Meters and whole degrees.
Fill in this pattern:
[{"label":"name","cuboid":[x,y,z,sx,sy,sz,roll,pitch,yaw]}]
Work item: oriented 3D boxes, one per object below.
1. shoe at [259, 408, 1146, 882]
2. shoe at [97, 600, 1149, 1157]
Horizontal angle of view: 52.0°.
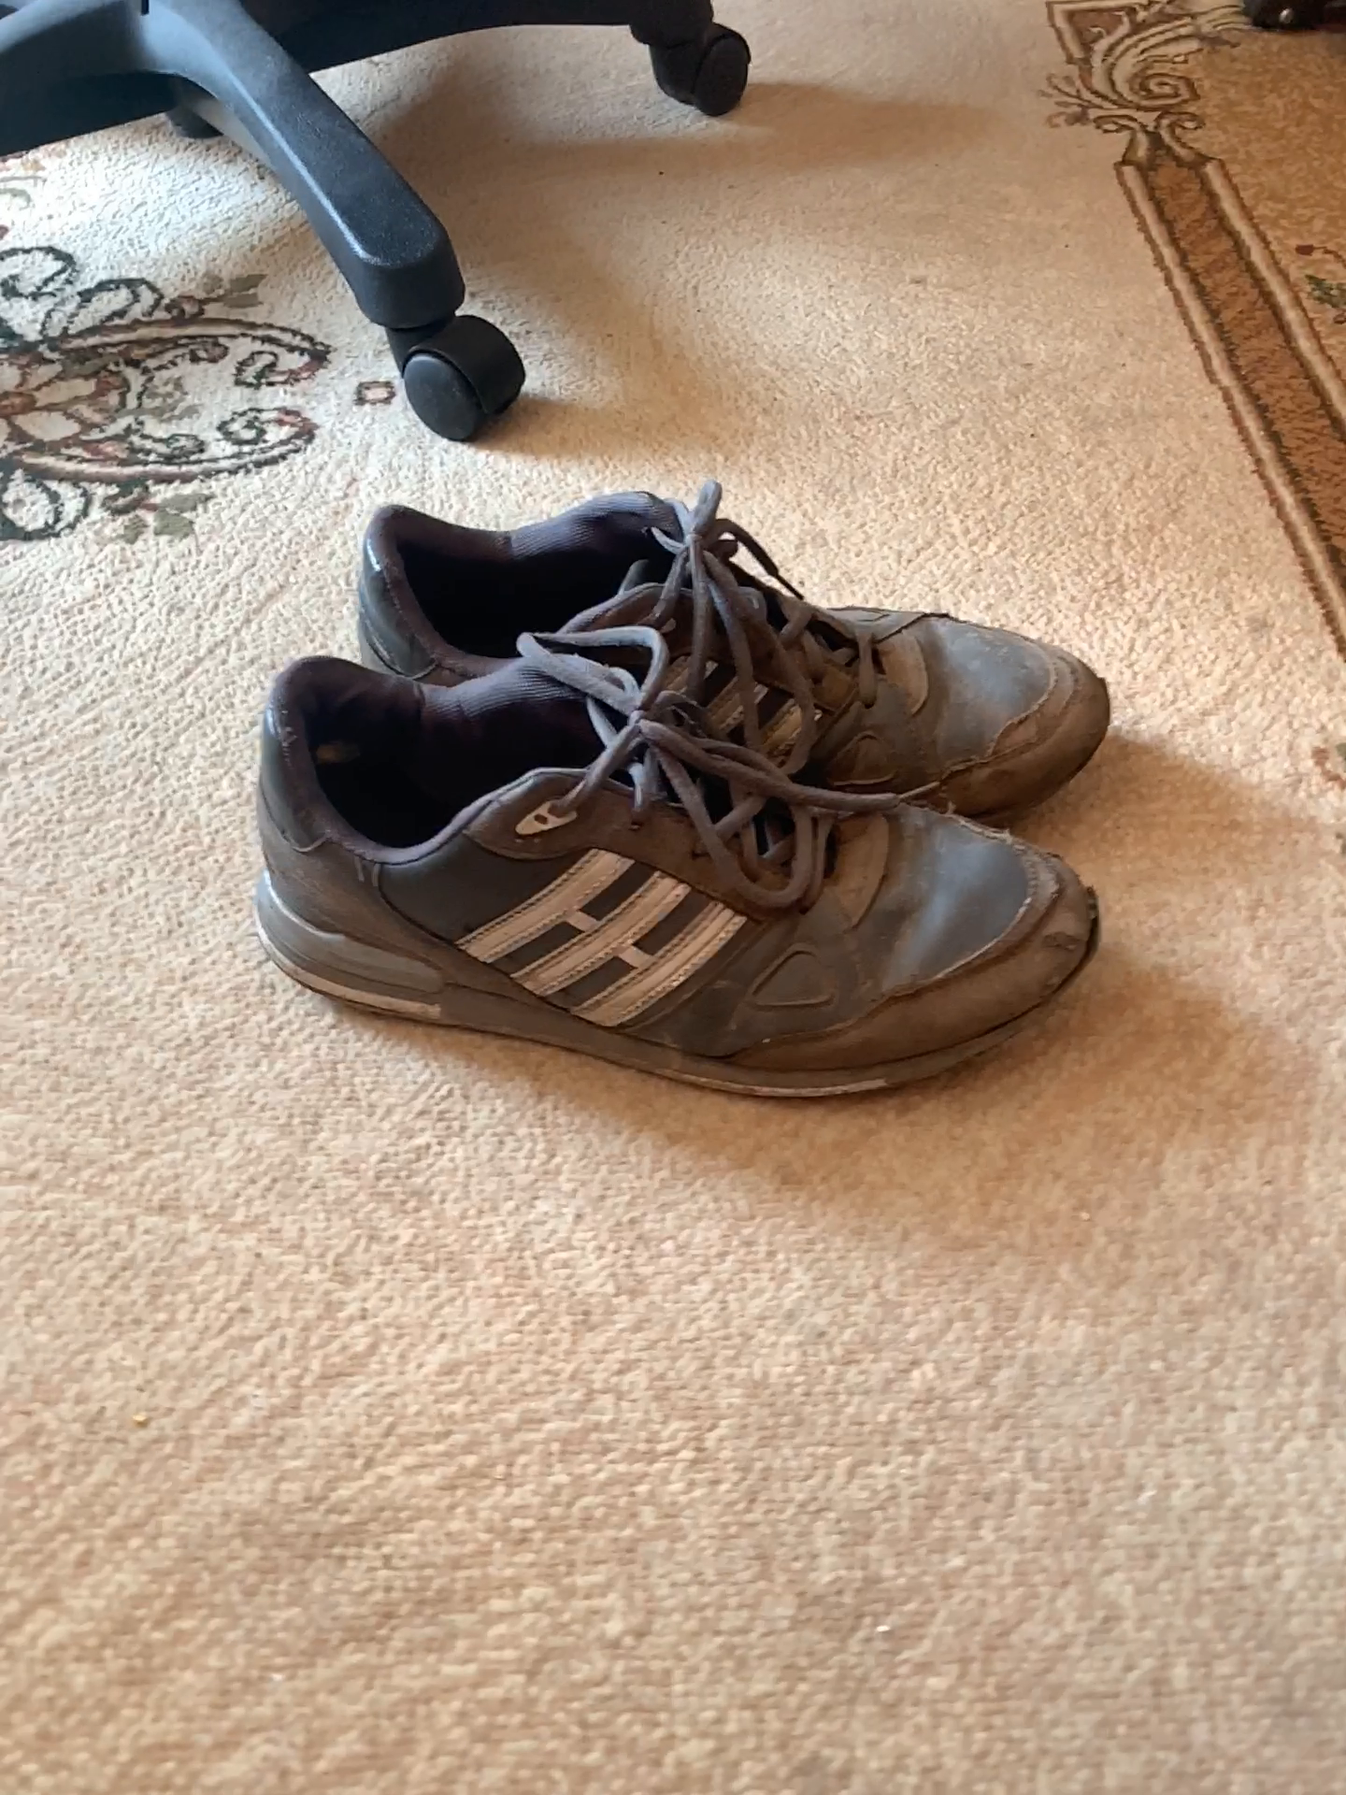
[{"label":"shoe","cuboid":[0.016,-0.104,0.551,0.310,0.099,0.121,8,53,8]},{"label":"shoe","cuboid":[-0.011,-0.010,0.475,0.313,0.099,0.117,8,53,8]}]
